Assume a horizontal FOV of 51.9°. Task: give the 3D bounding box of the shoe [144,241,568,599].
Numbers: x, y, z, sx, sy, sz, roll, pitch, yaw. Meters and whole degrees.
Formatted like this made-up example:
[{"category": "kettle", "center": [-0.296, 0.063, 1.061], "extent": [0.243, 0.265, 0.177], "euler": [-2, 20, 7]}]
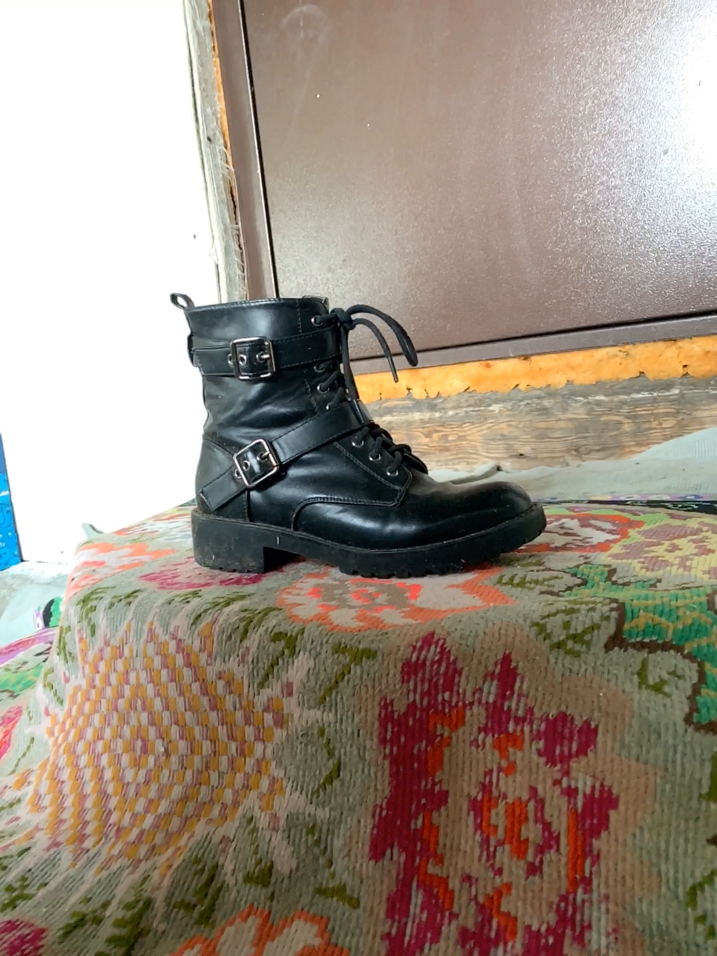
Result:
[{"category": "shoe", "center": [-0.001, -0.030, 0.479], "extent": [0.240, 0.190, 0.090], "euler": [-3, 7, 24]}]
